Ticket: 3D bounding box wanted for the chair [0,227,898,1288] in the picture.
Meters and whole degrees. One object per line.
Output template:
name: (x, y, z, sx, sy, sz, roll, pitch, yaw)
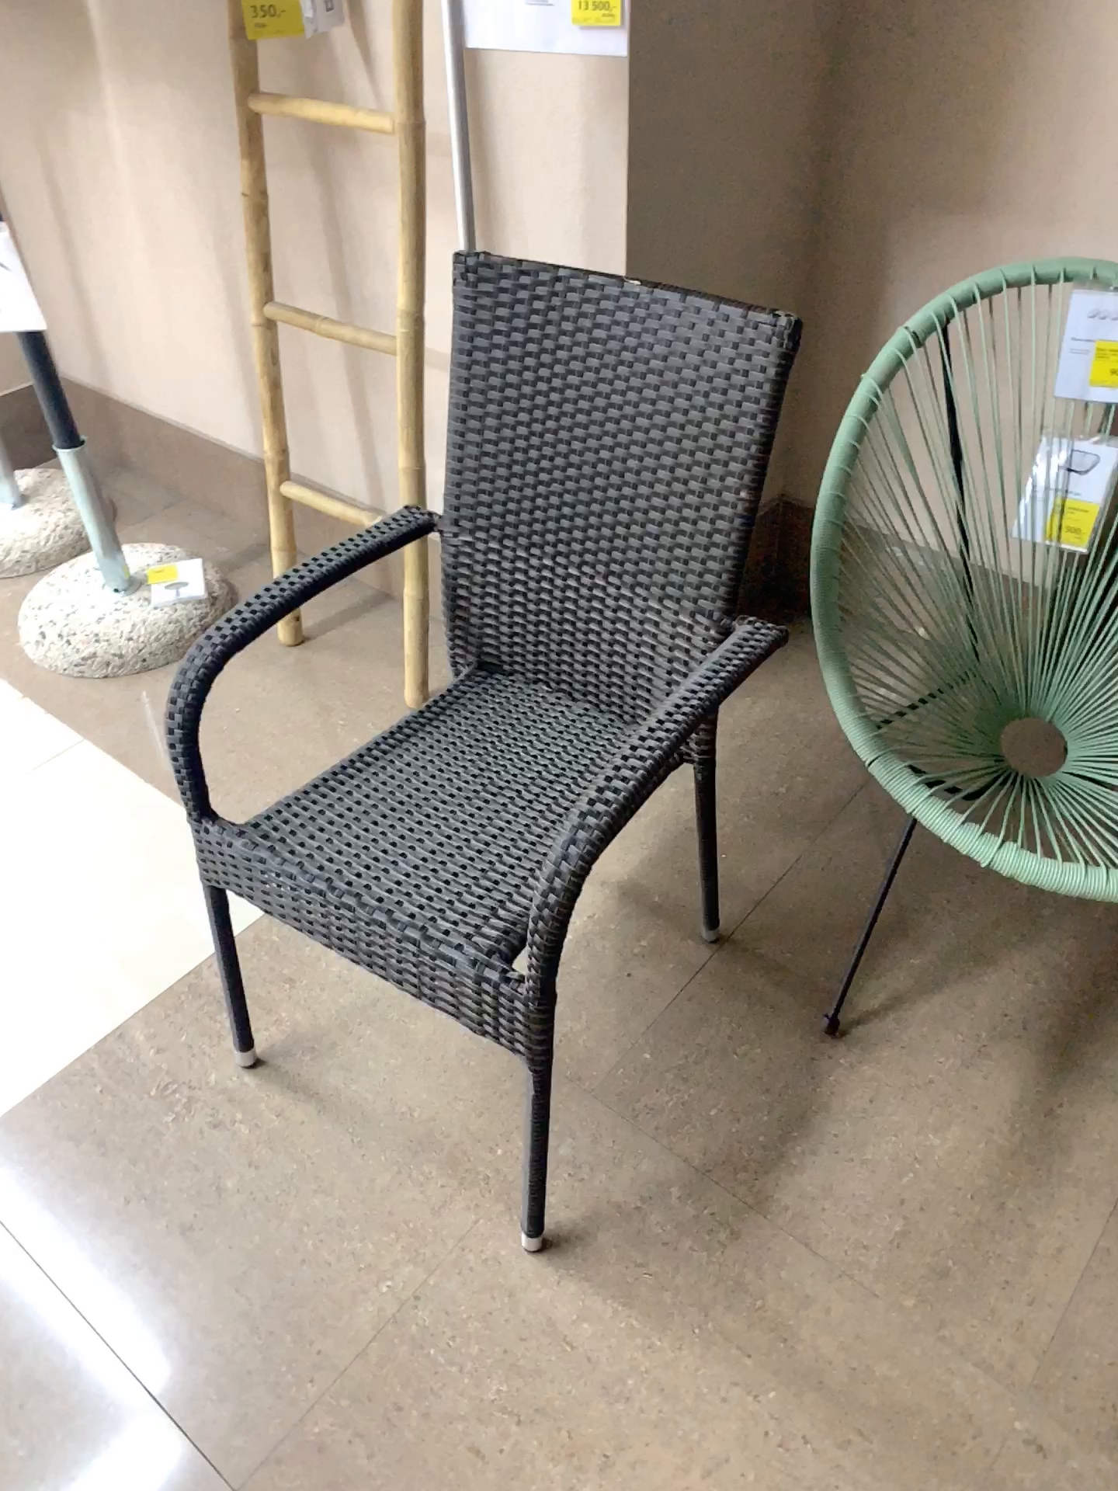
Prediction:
chair: (-0.082, -0.005, 1.415, 0.621, 0.955, 0.682, 22, 46, 26)
